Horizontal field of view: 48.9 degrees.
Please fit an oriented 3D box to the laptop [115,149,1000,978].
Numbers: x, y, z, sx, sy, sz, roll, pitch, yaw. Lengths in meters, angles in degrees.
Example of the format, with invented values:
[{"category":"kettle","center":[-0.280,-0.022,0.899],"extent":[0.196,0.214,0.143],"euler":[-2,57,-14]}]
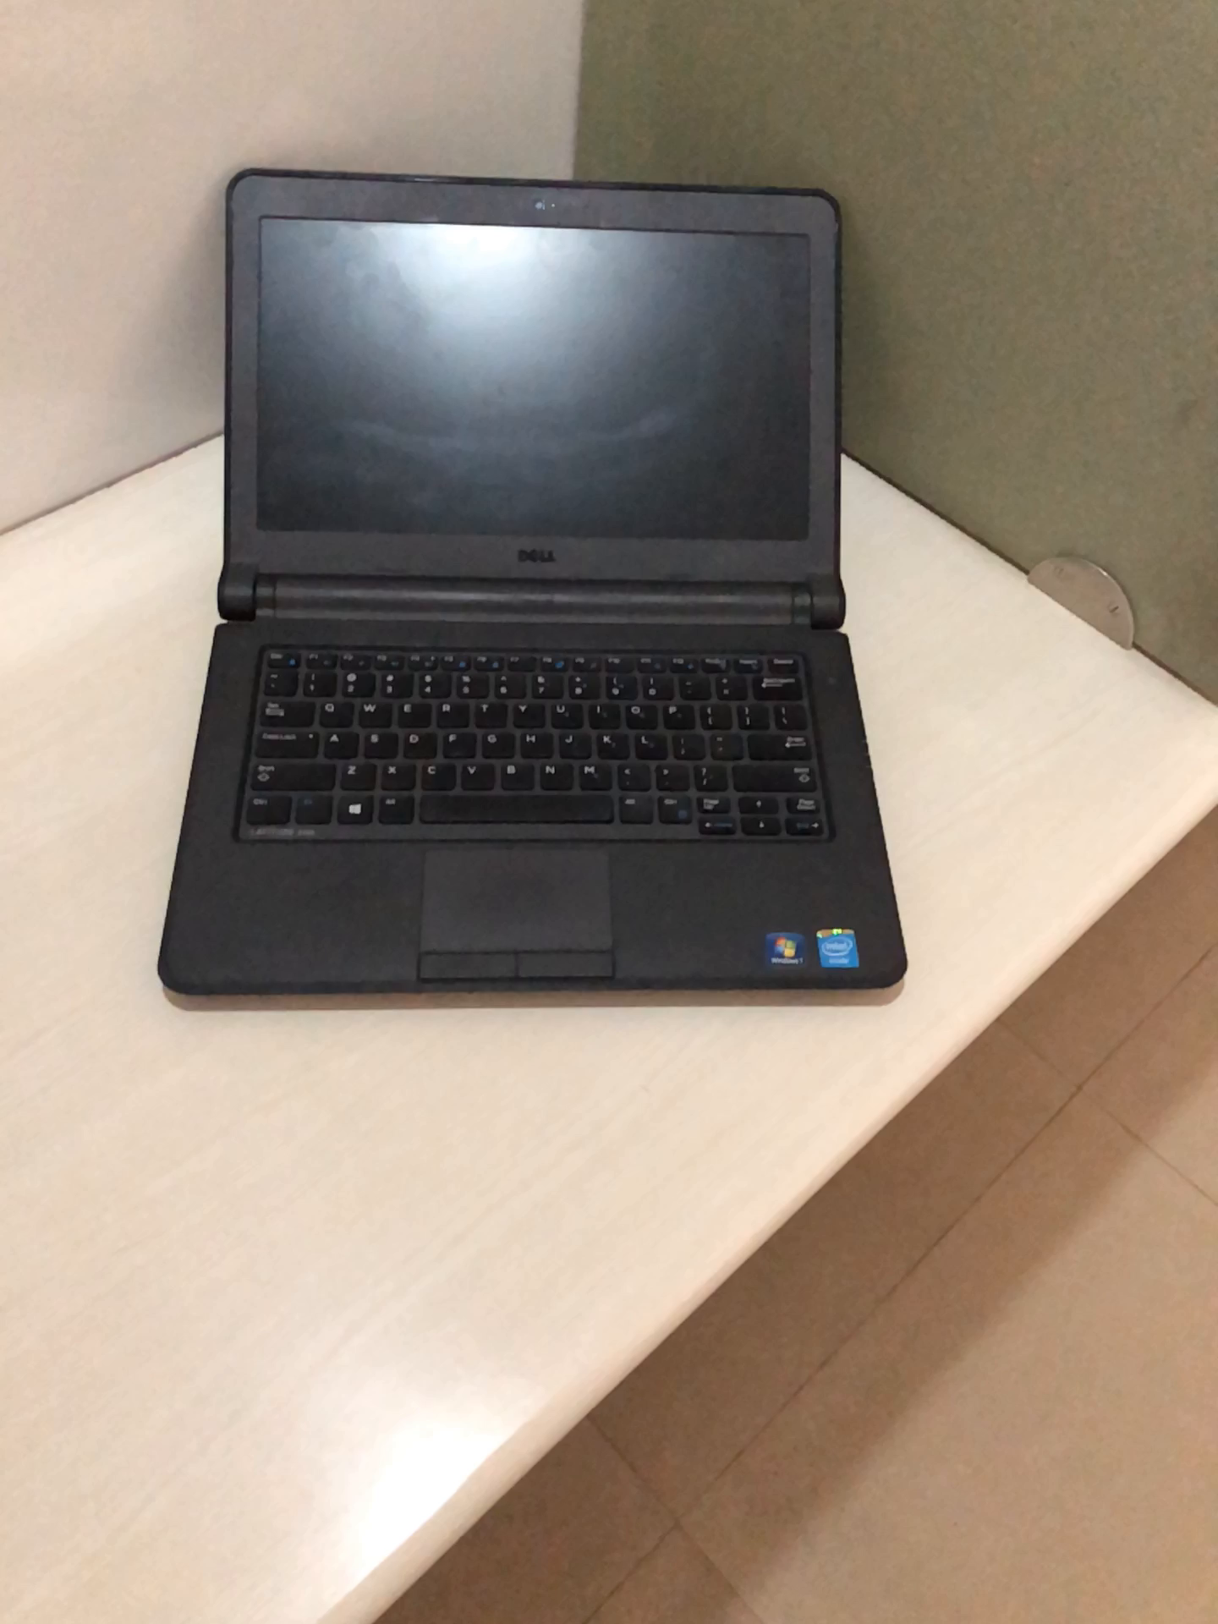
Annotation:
[{"category":"laptop","center":[-0.025,-0.134,0.629],"extent":[0.309,0.128,0.396],"euler":[0,56,-3]}]
